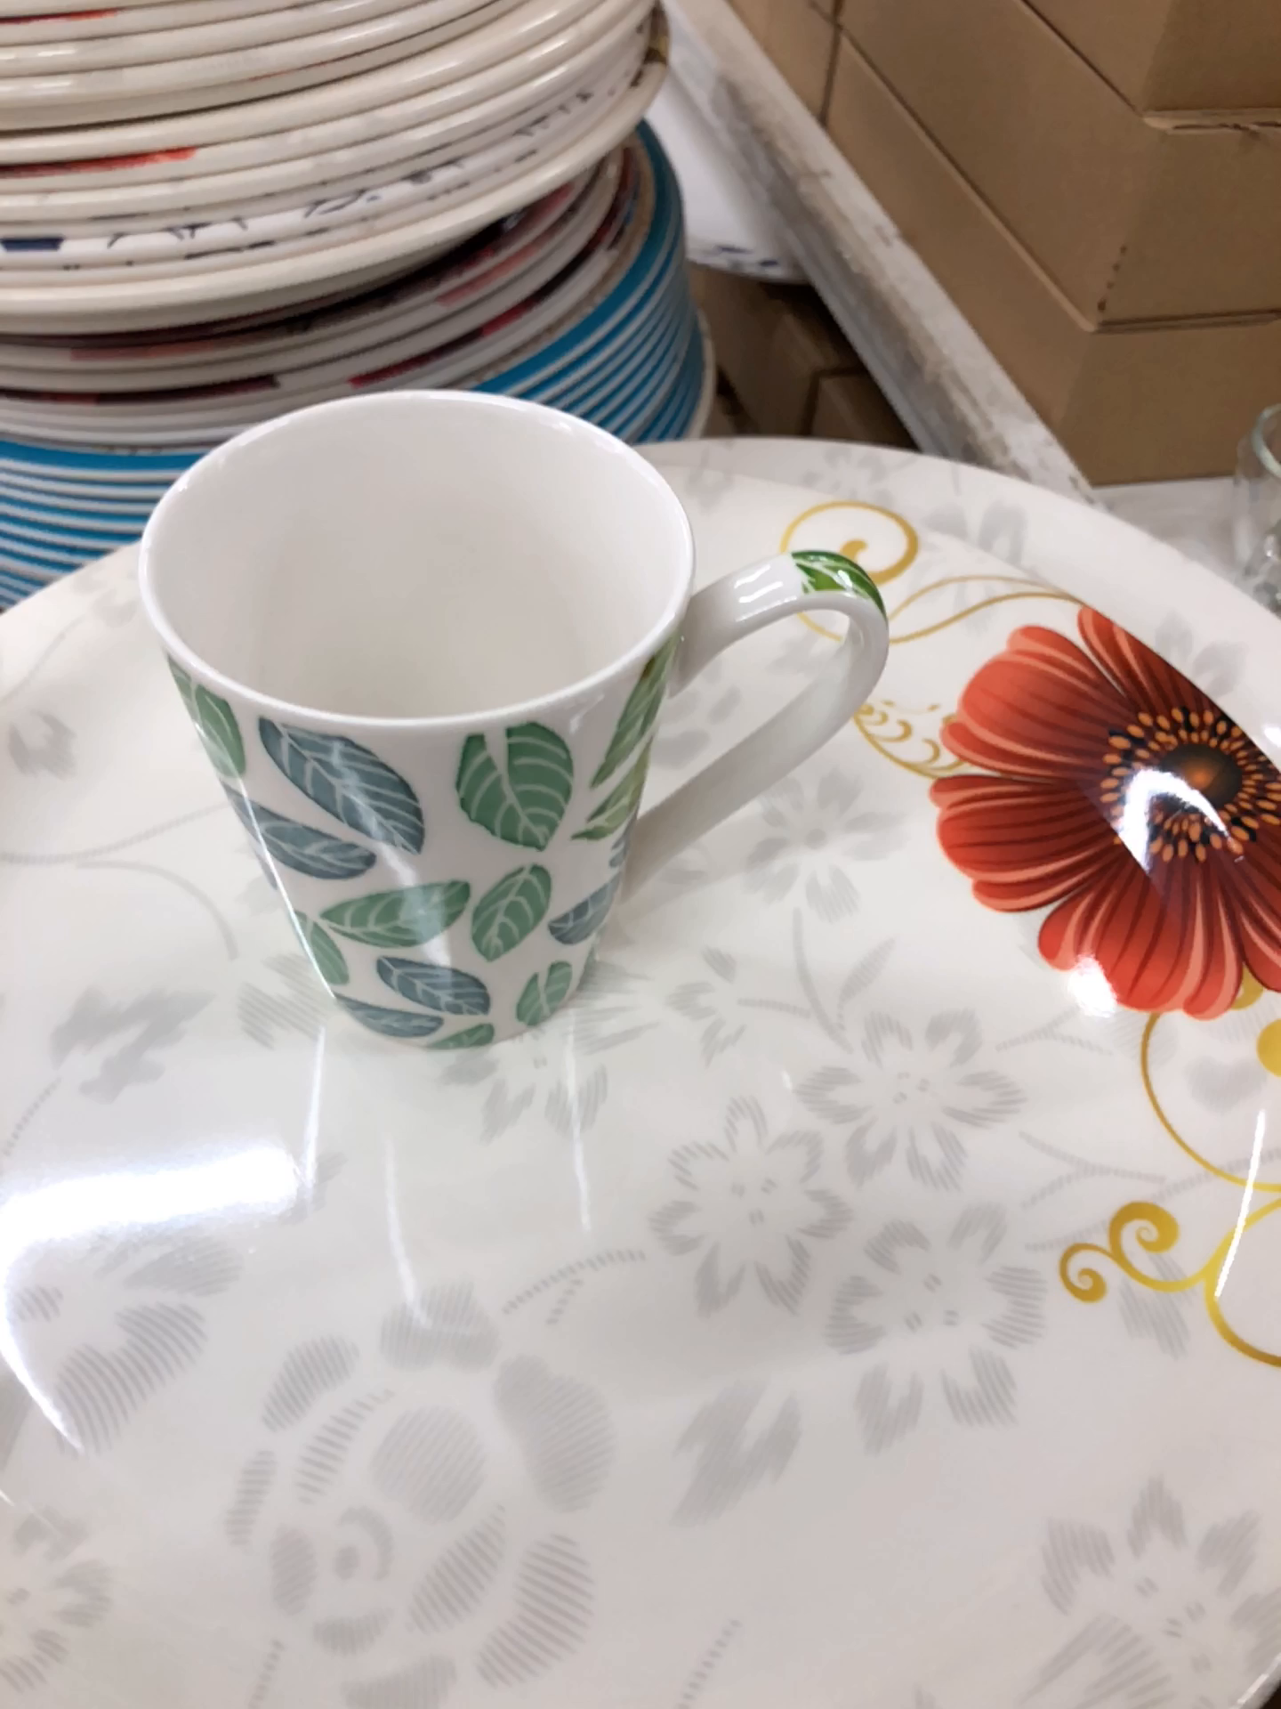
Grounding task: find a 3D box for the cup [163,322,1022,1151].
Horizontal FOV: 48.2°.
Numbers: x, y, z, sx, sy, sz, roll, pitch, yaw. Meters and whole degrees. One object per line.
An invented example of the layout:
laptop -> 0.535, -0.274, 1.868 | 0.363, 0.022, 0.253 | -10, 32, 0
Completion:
cup -> -0.014, -0.020, 0.272 | 0.120, 0.119, 0.080 | -10, 52, -12
